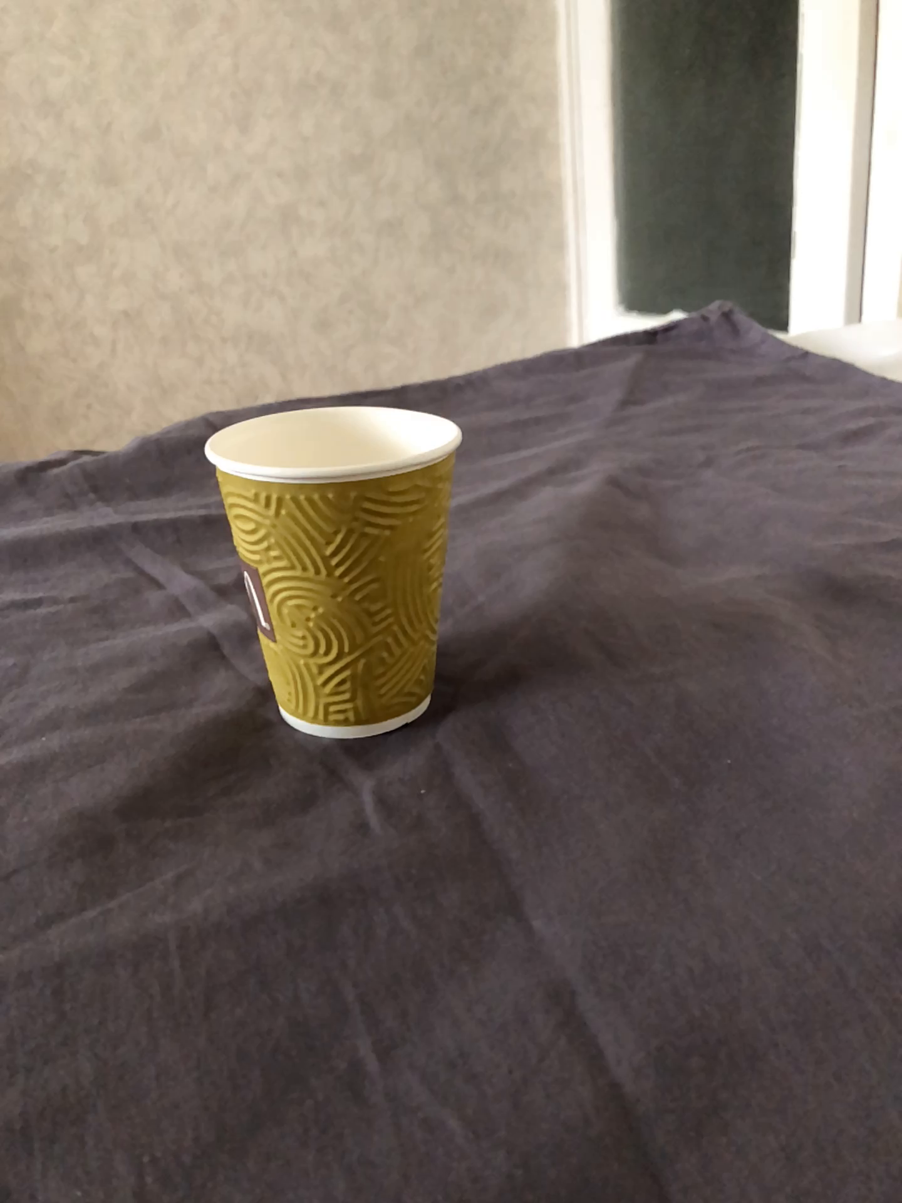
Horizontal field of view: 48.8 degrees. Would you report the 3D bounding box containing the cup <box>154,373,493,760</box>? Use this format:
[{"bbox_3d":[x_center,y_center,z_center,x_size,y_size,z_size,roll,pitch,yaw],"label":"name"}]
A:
[{"bbox_3d":[-0.044,-0.020,0.361,0.098,0.101,0.108,-2,23,1],"label":"cup"}]
